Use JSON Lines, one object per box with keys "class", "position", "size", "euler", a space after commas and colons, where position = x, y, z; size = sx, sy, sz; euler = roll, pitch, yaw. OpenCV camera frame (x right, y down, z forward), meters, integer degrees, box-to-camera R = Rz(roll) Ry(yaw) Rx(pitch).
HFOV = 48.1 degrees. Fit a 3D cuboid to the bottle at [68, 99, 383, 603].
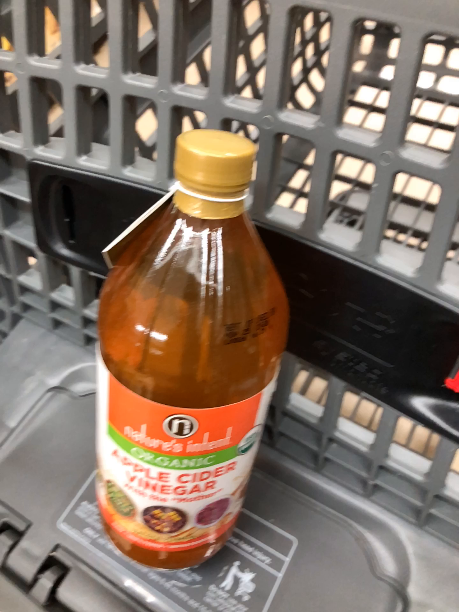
{"class": "bottle", "position": [-0.019, 0.037, 0.263], "size": [0.100, 0.240, 0.090], "euler": [8, 32, -5]}
